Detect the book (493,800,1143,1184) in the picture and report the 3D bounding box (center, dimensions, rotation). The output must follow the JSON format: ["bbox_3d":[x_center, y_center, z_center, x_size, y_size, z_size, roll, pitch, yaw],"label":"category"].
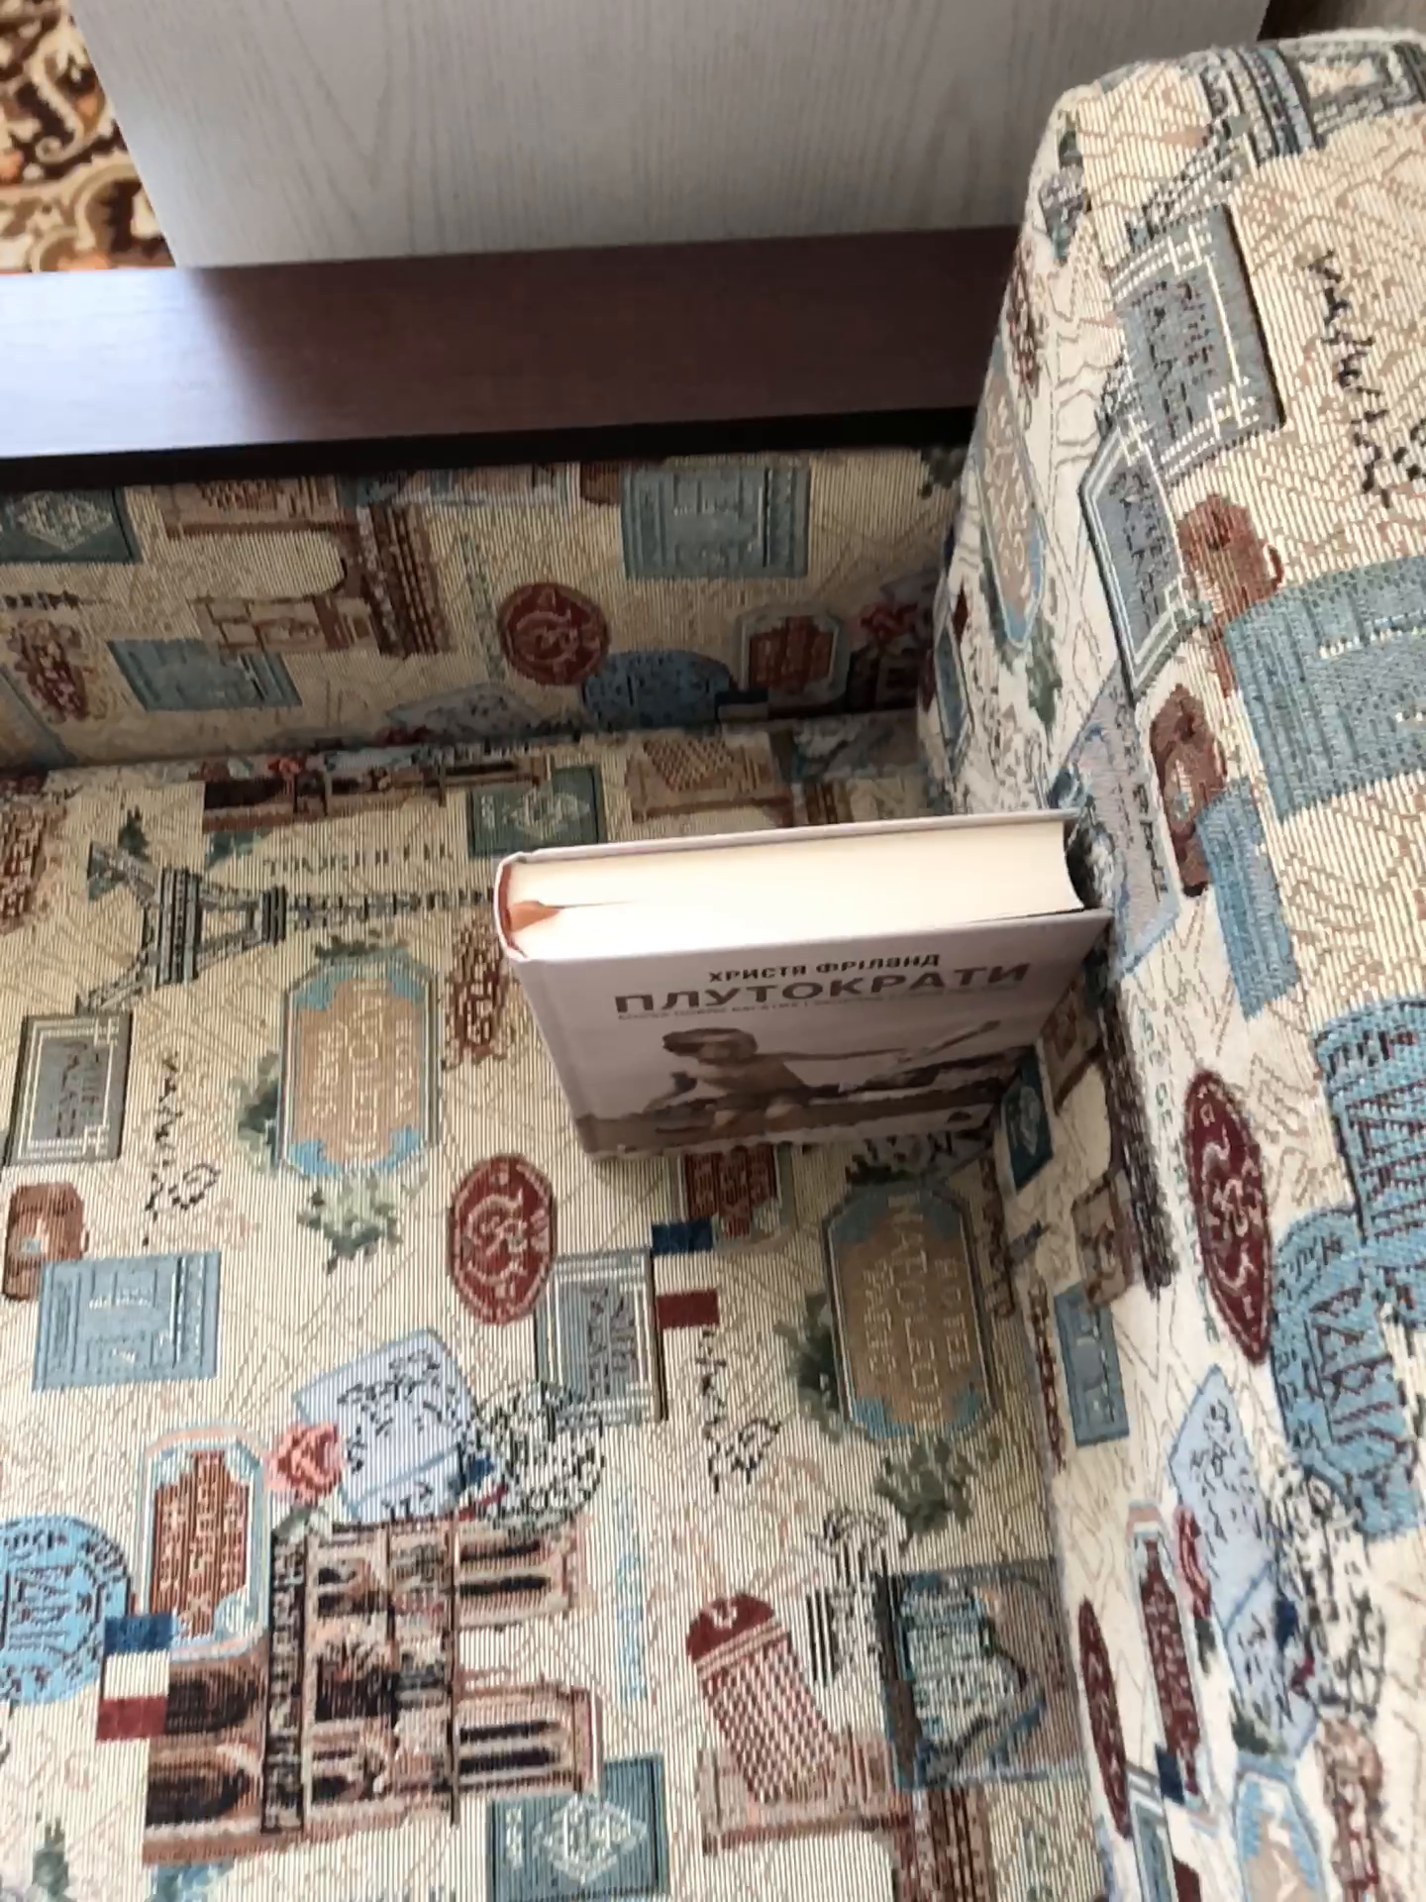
[{"bbox_3d":[0.026,0.024,0.488,0.157,0.216,0.037,-5,69,-2],"label":"book"}]
